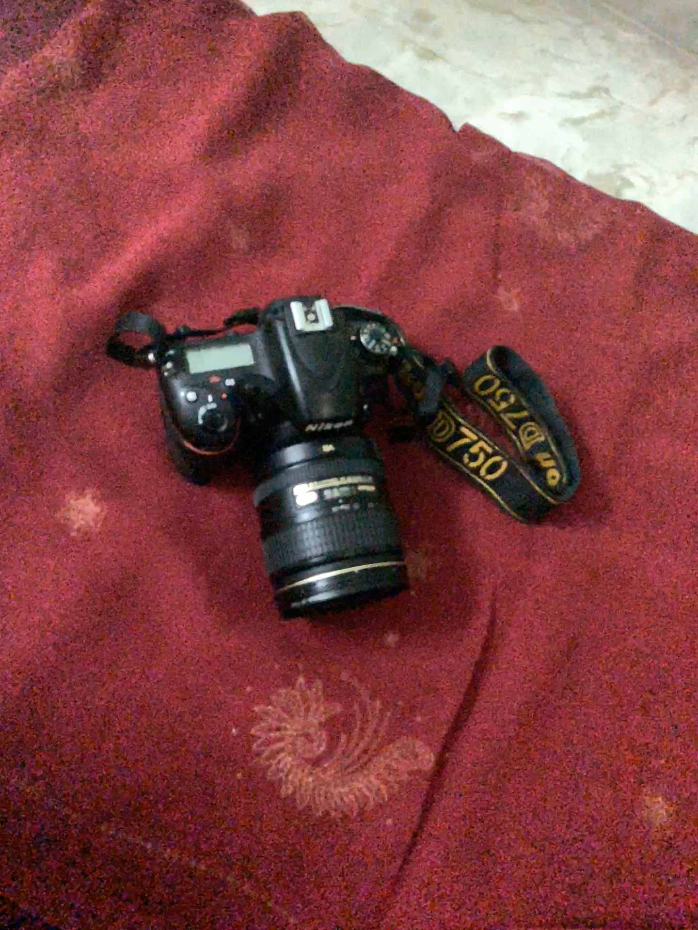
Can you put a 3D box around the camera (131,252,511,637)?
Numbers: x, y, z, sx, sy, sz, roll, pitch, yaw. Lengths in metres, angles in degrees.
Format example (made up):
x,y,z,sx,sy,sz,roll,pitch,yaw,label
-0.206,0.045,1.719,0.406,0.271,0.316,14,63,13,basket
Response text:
x,y,z,sx,sy,sz,roll,pitch,yaw,label
-0.025,-0.009,0.384,0.150,0.110,0.160,-9,72,-15,camera
